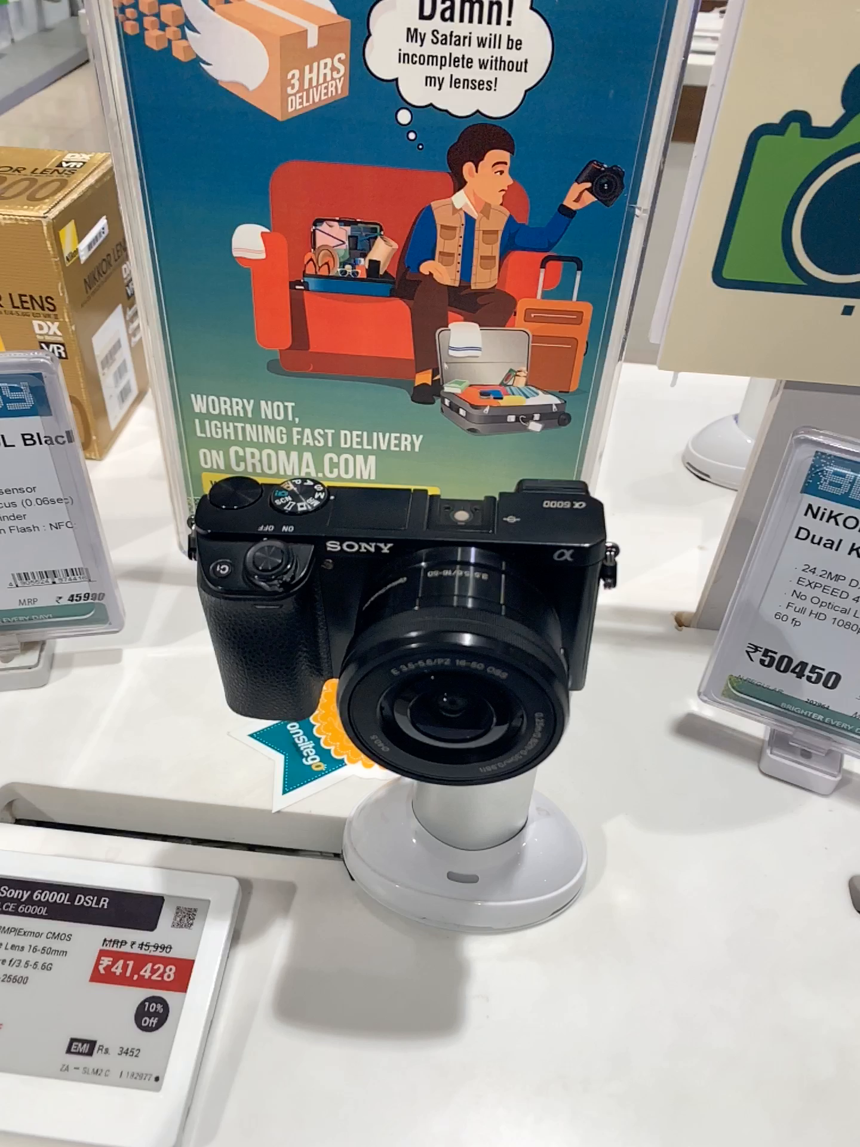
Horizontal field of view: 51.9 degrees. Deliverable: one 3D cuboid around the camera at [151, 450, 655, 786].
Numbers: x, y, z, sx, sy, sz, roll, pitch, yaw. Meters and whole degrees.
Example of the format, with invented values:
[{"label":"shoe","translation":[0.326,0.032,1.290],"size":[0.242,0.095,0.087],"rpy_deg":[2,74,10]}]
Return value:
[{"label":"camera","translation":[-0.007,0.013,0.252],"size":[0.118,0.073,0.056],"rpy_deg":[2,40,-2]}]
